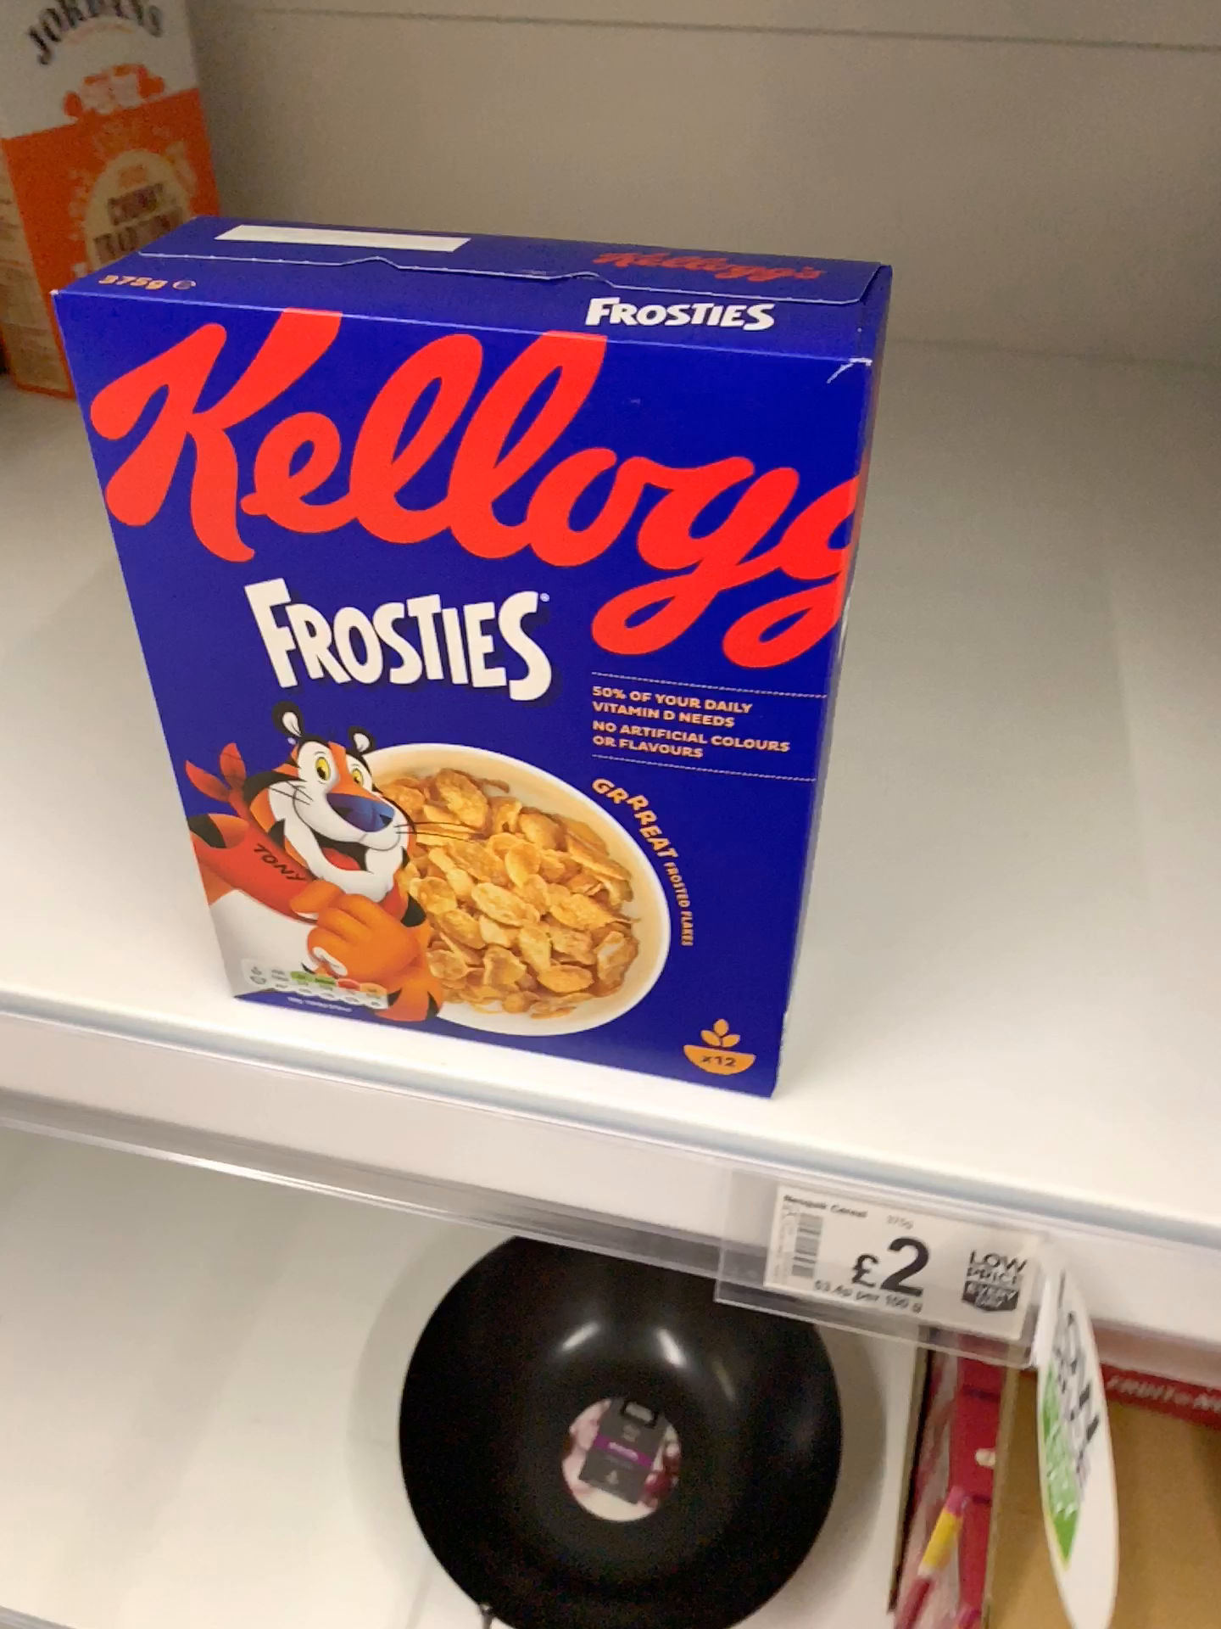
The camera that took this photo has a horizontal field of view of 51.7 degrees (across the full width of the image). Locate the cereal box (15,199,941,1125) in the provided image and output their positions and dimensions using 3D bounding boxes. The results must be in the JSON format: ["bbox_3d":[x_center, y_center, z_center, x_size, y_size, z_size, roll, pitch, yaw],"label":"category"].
[{"bbox_3d":[-0.026,-0.035,0.369,0.200,0.238,0.081,9,40,11],"label":"cereal box"}]
